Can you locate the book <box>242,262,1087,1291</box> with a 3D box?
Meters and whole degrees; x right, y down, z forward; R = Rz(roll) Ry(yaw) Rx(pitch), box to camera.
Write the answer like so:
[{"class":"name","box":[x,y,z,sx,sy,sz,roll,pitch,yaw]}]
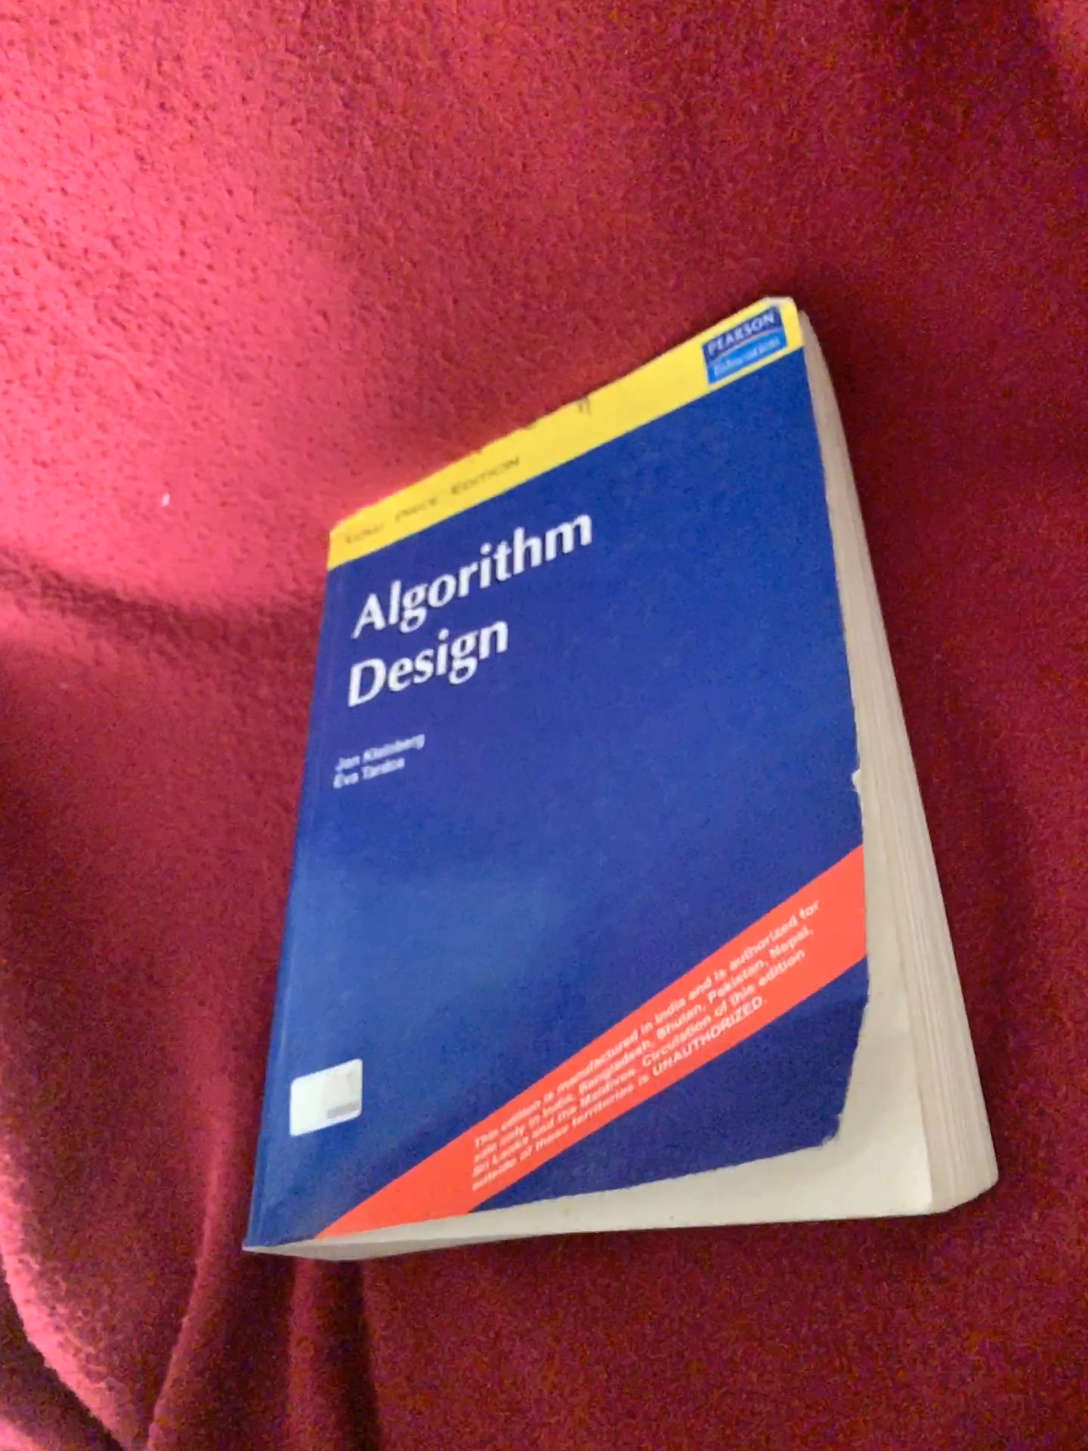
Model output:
[{"class":"book","box":[0.019,0.016,0.324,0.190,0.060,0.251,-18,56,27]}]
